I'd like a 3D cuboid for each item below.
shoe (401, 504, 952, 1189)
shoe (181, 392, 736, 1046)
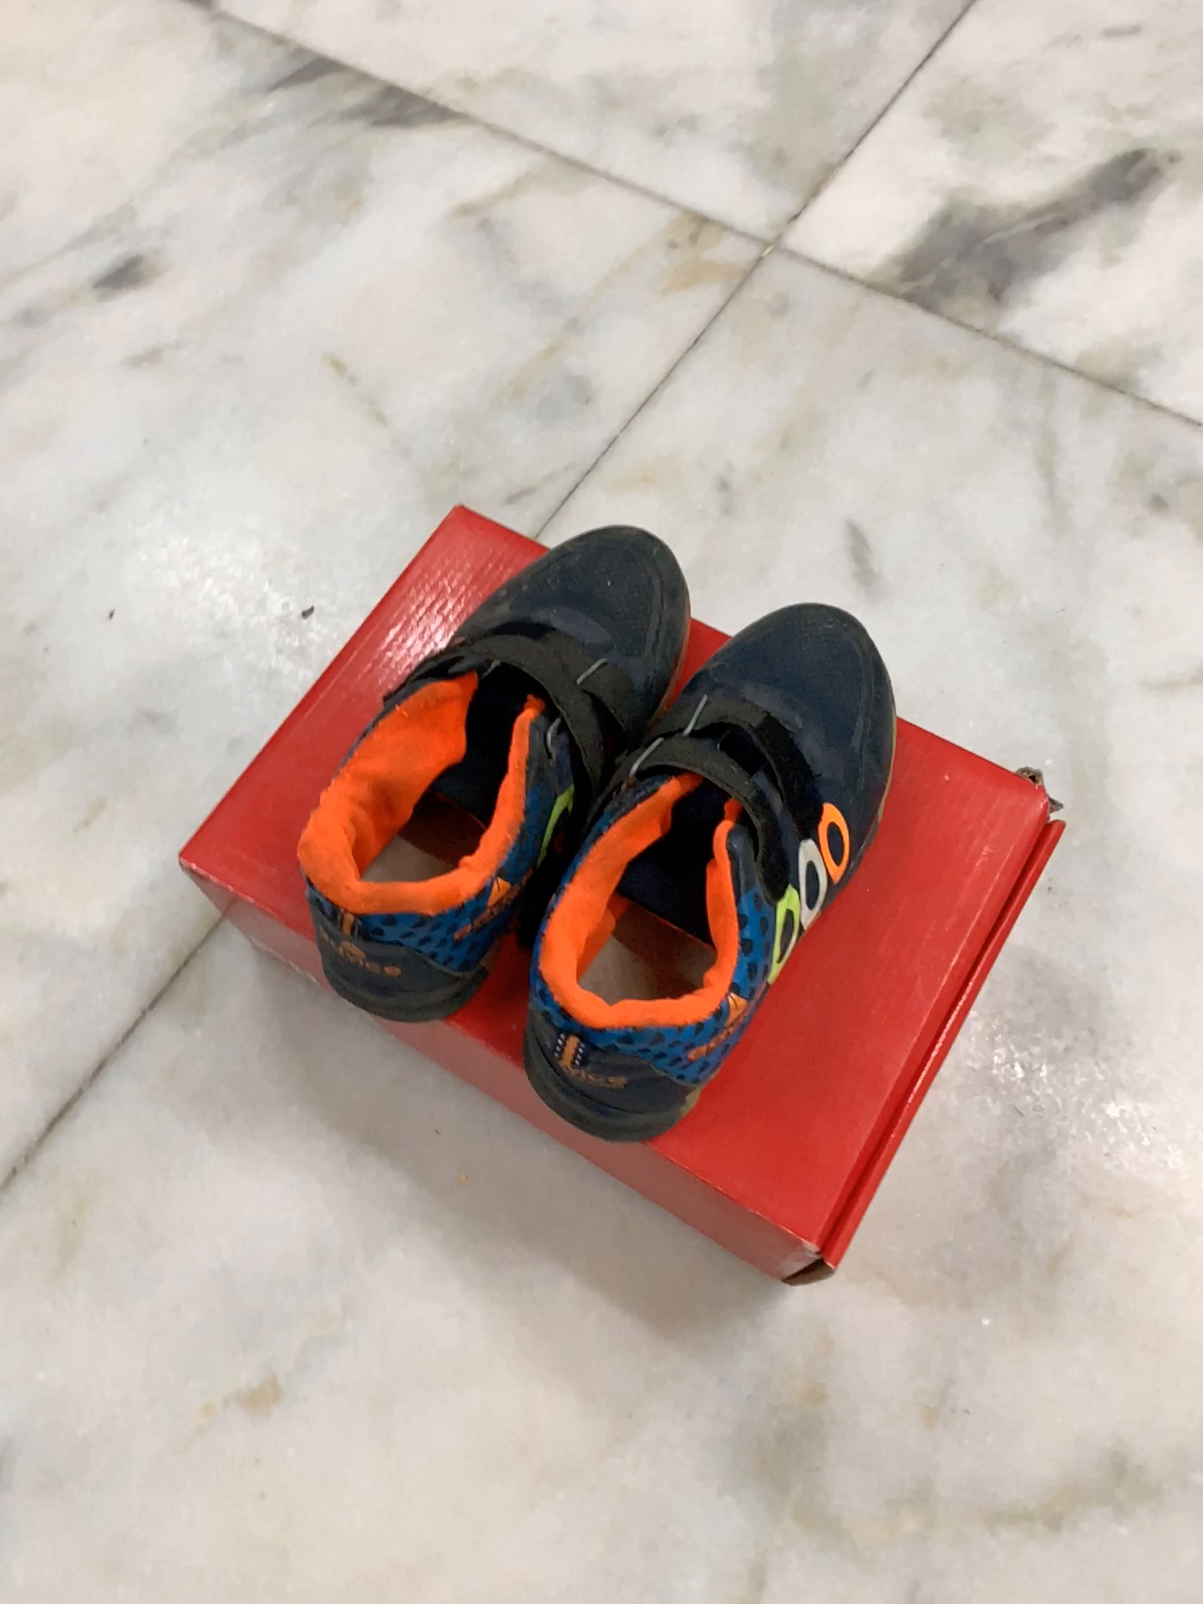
[{"bbox_3d":[0.032,0.013,0.441,0.090,0.090,0.211,27,67,14],"label":"shoe"},{"bbox_3d":[-0.039,-0.033,0.441,0.080,0.080,0.211,27,68,14],"label":"shoe"}]
